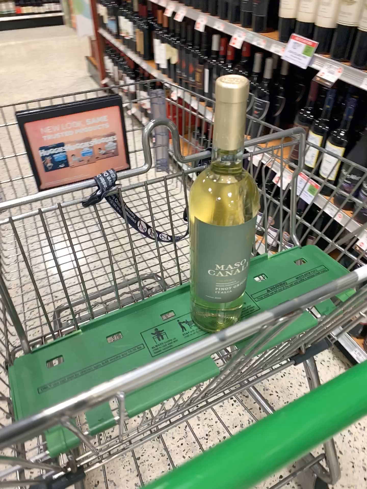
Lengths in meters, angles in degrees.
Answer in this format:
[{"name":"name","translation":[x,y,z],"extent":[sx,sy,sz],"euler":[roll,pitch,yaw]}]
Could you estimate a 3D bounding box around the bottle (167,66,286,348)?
[{"name":"bottle","translation":[0.039,-0.021,0.458],"extent":[0.080,0.336,0.091],"euler":[-14,42,-15]}]
